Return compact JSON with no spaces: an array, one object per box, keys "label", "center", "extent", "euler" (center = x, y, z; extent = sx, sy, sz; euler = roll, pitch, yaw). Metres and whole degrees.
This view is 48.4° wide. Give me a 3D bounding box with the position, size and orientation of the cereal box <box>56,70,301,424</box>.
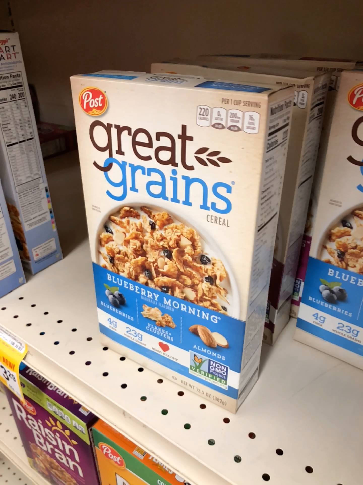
[{"label":"cereal box","center":[-0.010,0.003,0.365],"extent":[0.180,0.279,0.060],"euler":[18,32,30]}]
